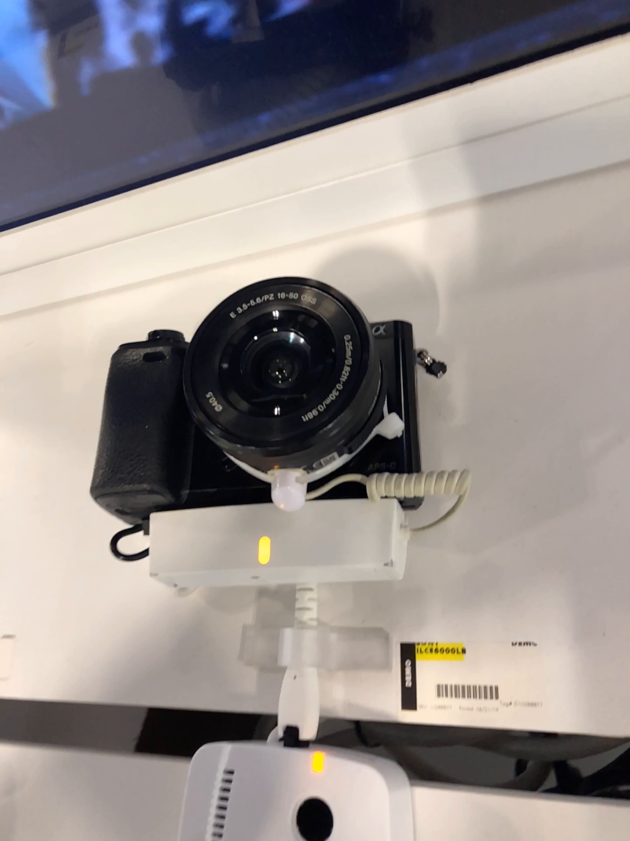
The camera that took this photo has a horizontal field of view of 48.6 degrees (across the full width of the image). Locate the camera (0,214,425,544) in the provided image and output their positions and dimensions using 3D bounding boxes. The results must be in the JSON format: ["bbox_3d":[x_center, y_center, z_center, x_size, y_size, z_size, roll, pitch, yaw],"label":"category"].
[{"bbox_3d":[-0.031,-0.008,0.260,0.130,0.070,0.090,-5,68,16],"label":"camera"}]
